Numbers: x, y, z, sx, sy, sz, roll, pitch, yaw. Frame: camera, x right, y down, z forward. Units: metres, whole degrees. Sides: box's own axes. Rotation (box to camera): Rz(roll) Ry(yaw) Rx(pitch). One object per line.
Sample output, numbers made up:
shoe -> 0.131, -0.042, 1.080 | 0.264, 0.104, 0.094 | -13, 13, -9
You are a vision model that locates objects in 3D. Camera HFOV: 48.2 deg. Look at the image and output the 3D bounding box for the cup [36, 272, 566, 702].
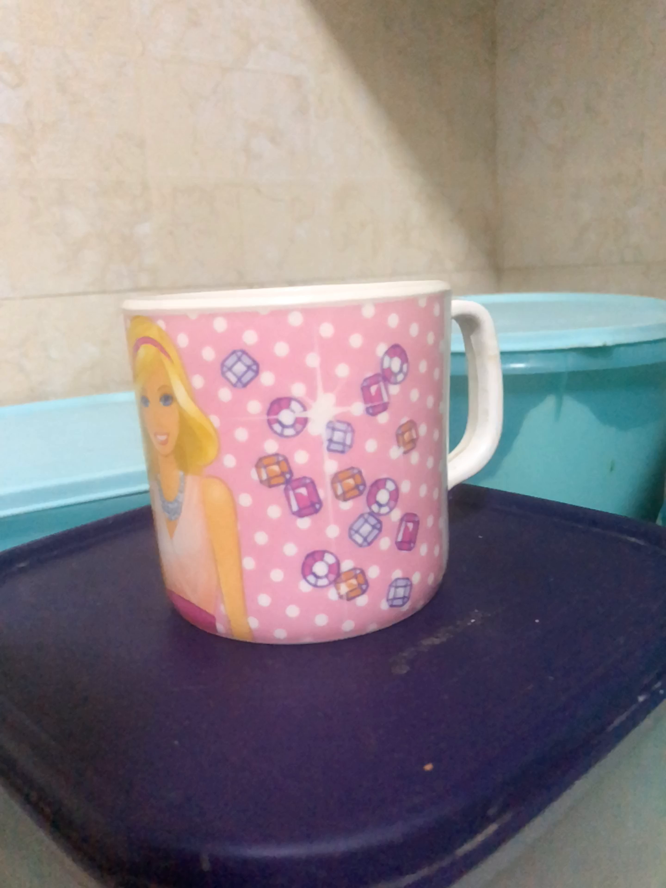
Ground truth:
cup -> -0.003, -0.004, 0.210 | 0.120, 0.080, 0.080 | -14, 17, -39
